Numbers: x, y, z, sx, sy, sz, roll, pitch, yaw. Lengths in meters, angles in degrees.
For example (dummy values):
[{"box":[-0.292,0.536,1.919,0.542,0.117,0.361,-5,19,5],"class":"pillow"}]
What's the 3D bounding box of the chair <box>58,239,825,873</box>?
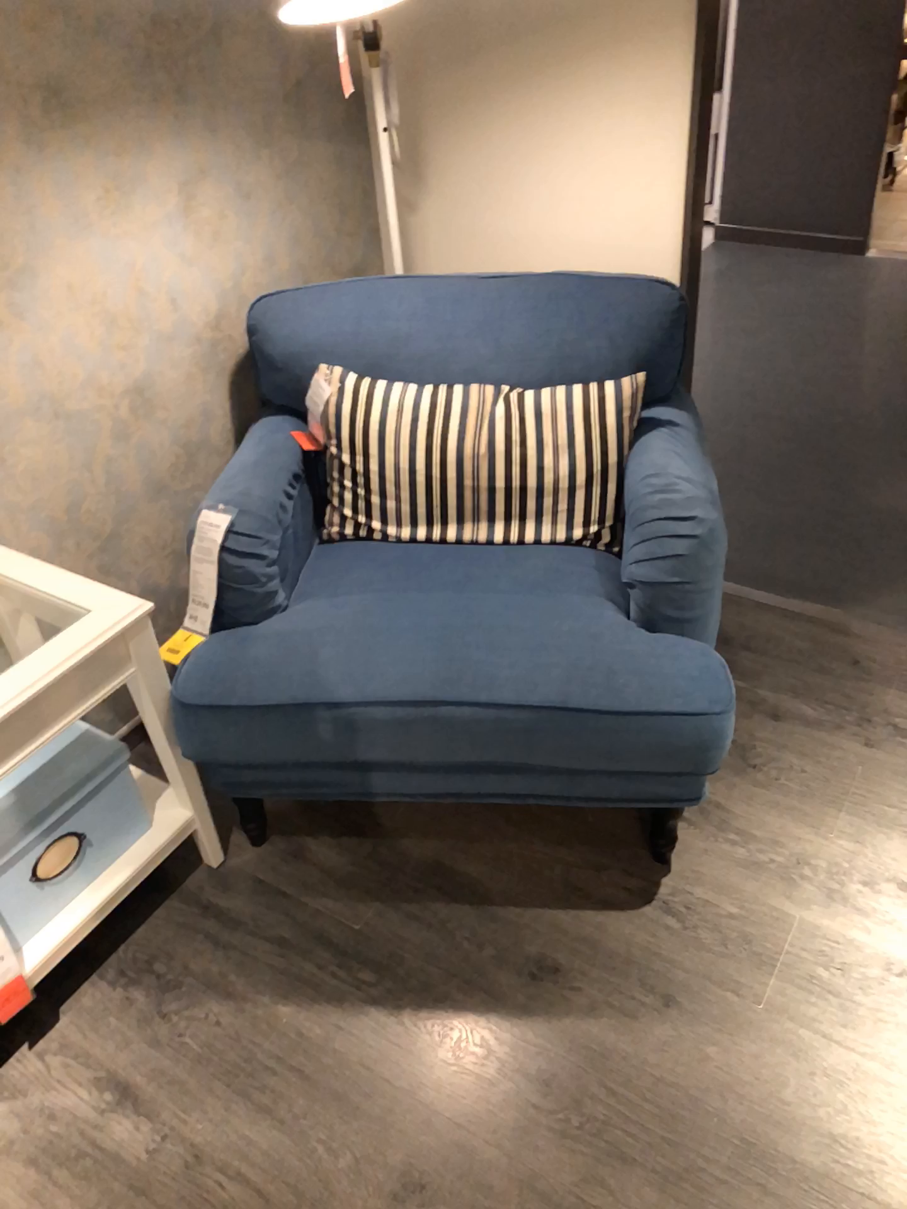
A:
[{"box":[0.030,-0.119,1.668,0.890,0.695,0.806,0,36,7],"class":"chair"}]
